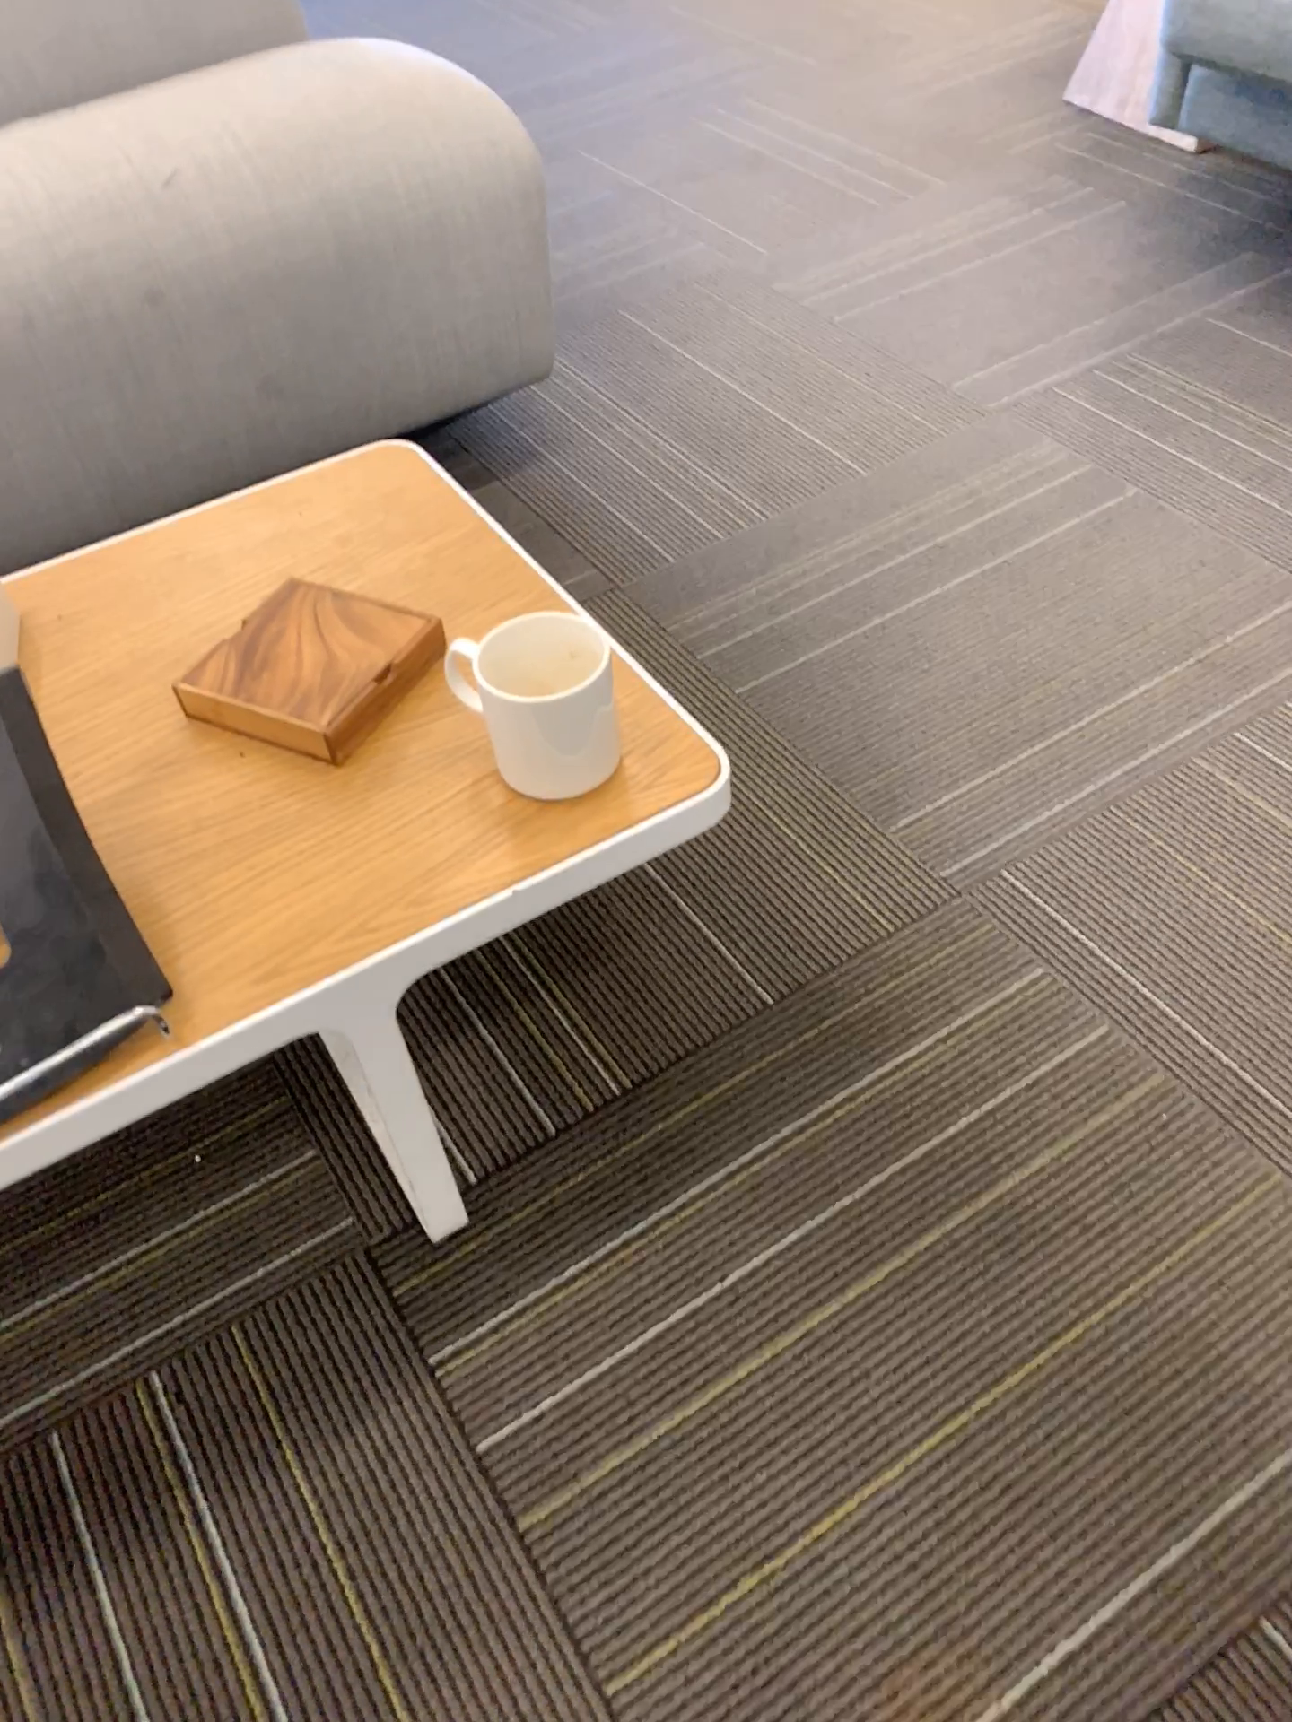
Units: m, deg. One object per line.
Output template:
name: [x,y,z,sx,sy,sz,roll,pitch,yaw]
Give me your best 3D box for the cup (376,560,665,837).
cup: [-0.074,-0.101,0.800,0.141,0.090,0.090,29,57,28]
